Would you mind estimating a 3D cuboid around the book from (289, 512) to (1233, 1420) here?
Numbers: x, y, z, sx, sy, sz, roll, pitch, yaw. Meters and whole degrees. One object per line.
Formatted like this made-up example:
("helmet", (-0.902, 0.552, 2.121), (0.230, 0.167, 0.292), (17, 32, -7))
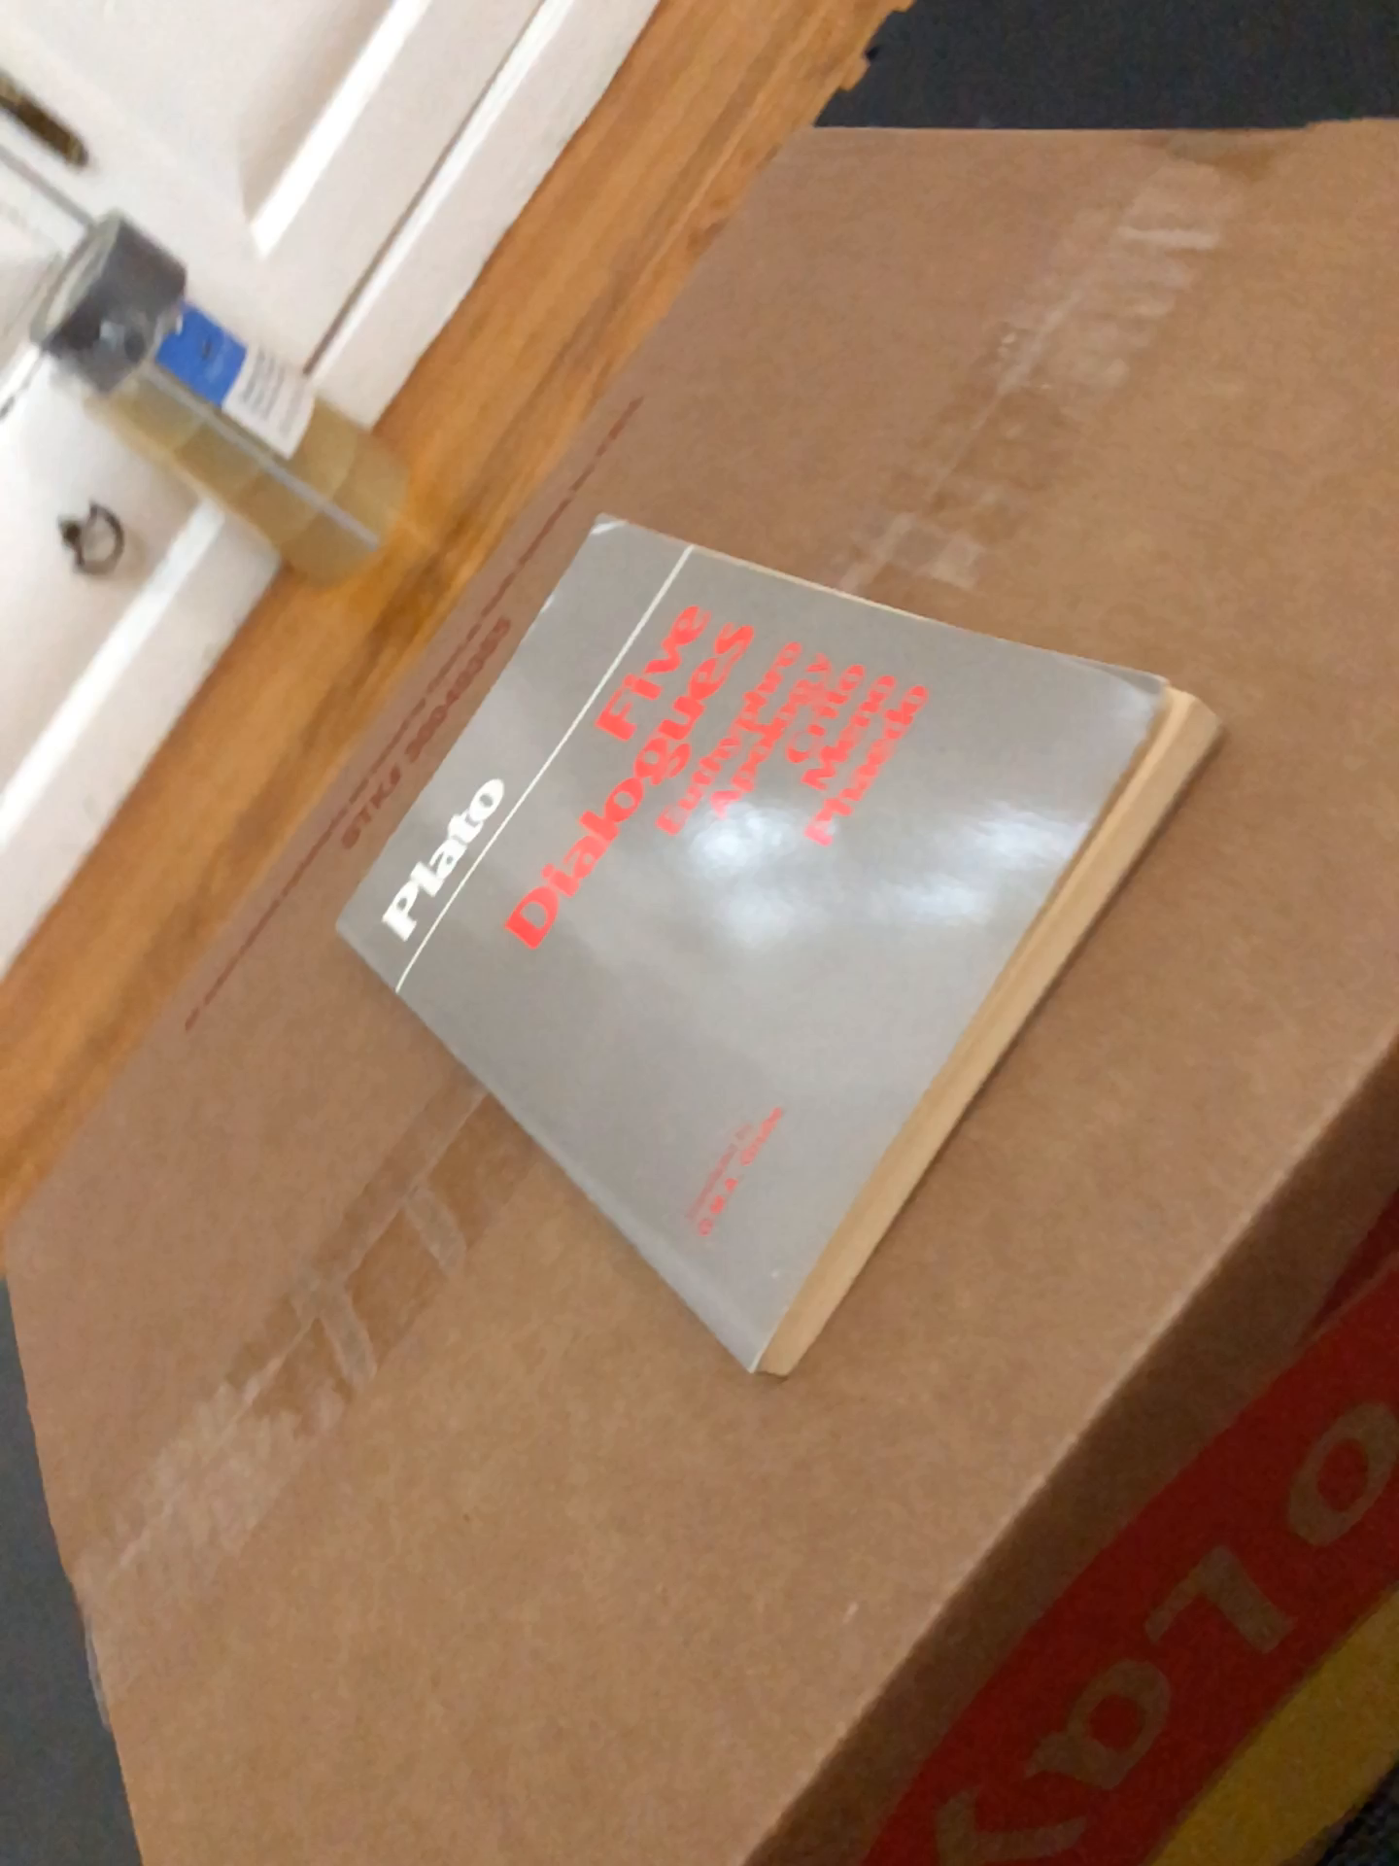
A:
("book", (-0.010, -0.016, 0.350), (0.140, 0.020, 0.221), (-57, 39, 0))
